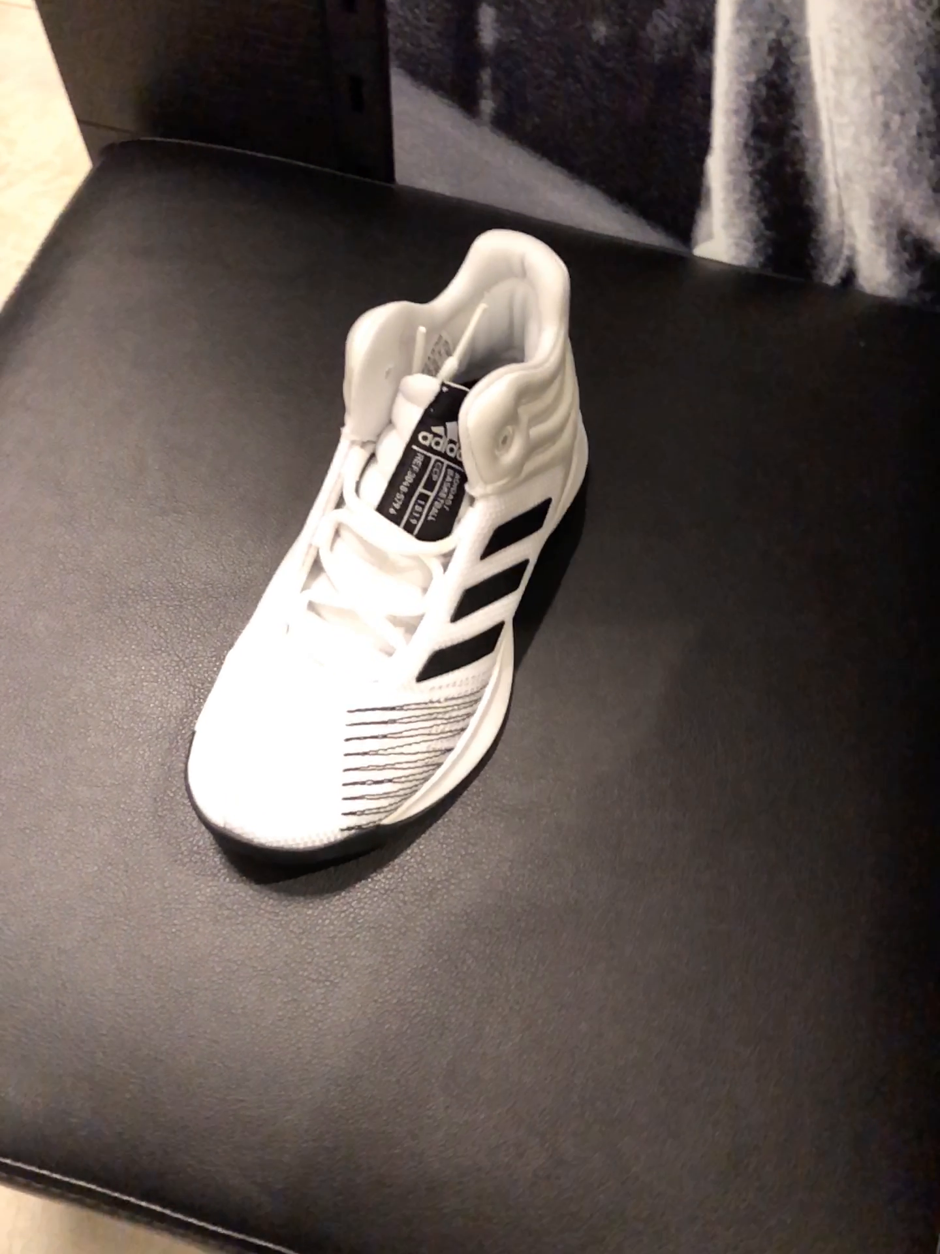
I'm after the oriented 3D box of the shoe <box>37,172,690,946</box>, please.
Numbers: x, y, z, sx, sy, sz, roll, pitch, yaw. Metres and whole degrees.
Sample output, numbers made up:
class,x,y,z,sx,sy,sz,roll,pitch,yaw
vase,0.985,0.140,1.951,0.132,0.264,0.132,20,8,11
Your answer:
class,x,y,z,sx,sy,sz,roll,pitch,yaw
shoe,-0.021,-0.025,0.356,0.100,0.110,0.220,24,65,10
